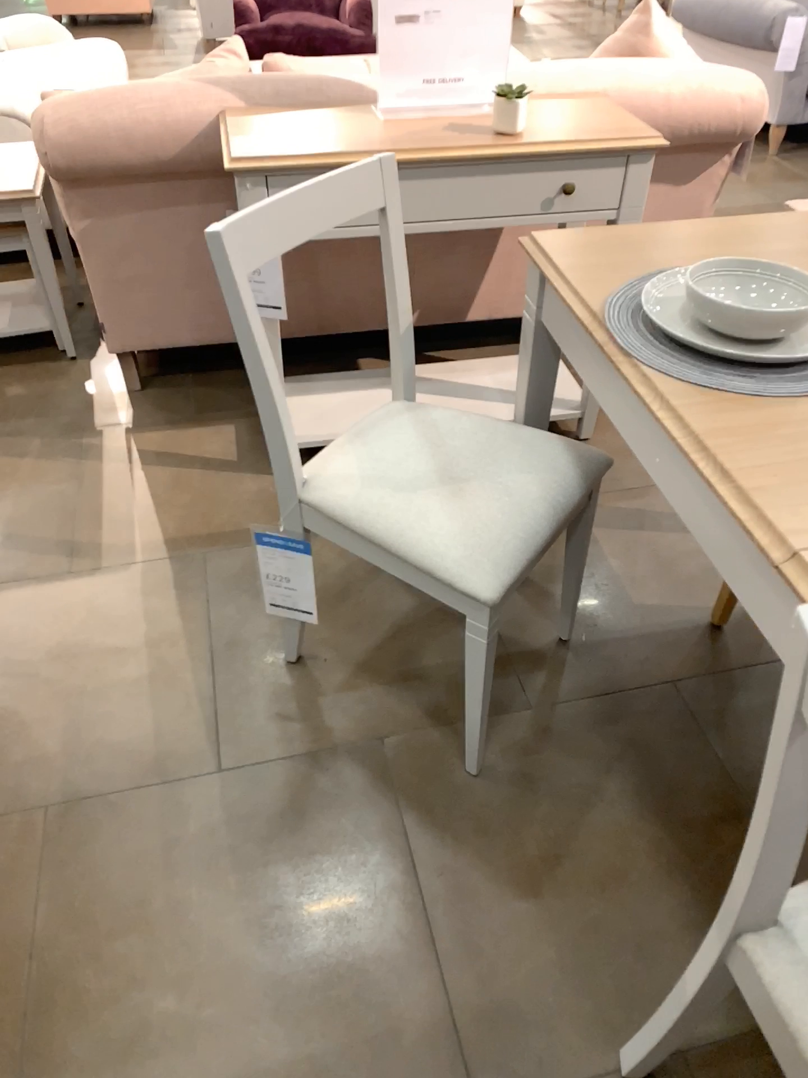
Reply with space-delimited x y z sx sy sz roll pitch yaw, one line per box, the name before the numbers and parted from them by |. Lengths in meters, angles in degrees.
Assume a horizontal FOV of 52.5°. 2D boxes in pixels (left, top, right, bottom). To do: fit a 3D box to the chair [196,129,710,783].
chair | 0.071 -0.132 1.349 0.509 0.831 0.464 26 47 26
